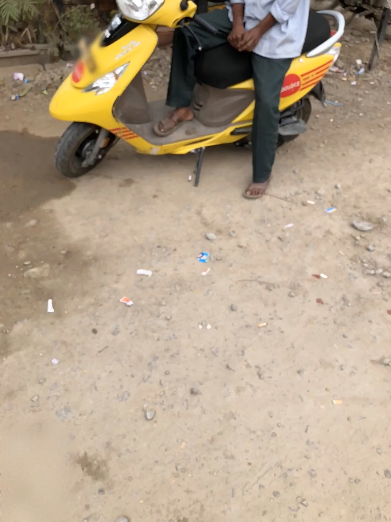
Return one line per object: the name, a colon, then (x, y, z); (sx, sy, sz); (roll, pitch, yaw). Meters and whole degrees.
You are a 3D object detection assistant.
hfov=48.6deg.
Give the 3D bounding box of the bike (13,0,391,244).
bike: (0.000, -1.015, 2.492); (1.656, 1.160, 0.893); (-15, 44, -16)
